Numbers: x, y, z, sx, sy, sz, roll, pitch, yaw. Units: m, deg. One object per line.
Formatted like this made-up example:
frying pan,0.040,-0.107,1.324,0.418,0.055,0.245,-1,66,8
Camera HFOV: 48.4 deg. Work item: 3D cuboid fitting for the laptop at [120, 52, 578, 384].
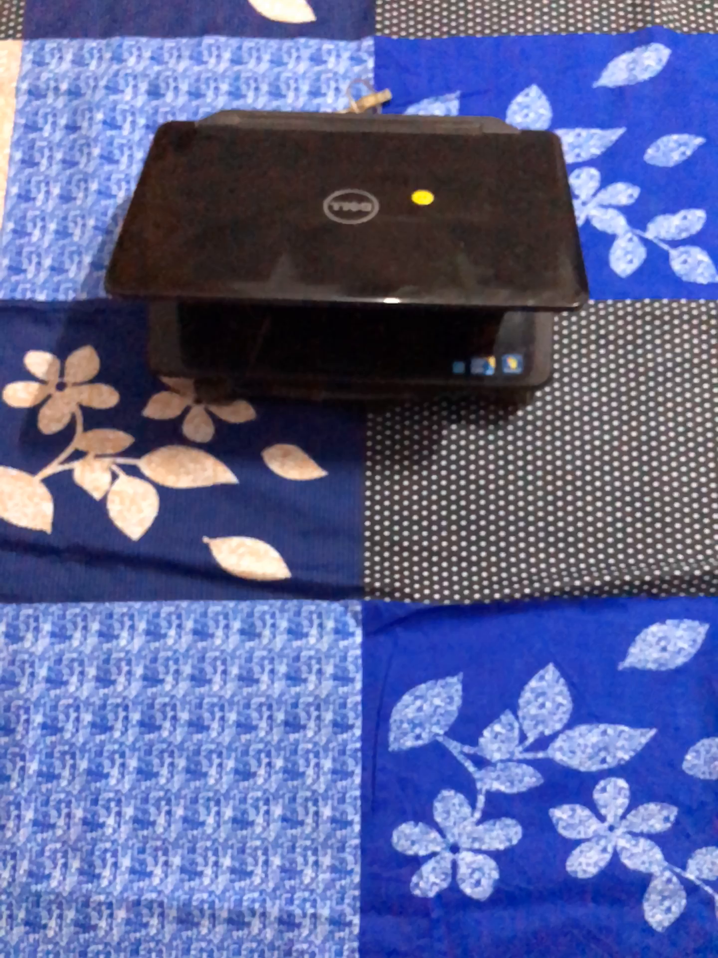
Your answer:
laptop,-0.004,-0.220,0.691,0.362,0.093,0.235,2,83,1
